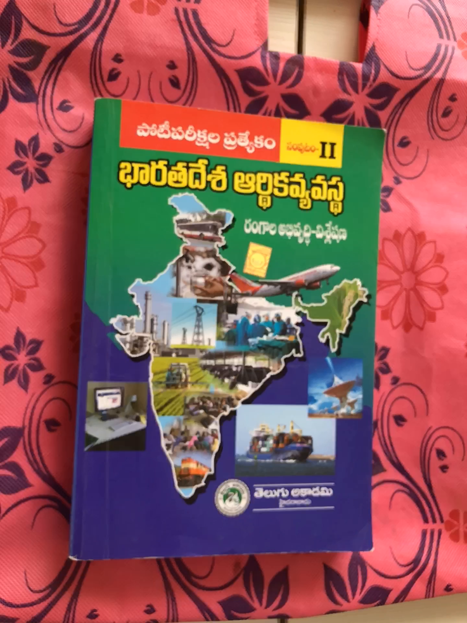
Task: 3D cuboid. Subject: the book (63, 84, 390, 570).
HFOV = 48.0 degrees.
[{"bbox_3d":[0.000,0.011,0.340,0.190,0.040,0.280,3,87,-11],"label":"book"}]
